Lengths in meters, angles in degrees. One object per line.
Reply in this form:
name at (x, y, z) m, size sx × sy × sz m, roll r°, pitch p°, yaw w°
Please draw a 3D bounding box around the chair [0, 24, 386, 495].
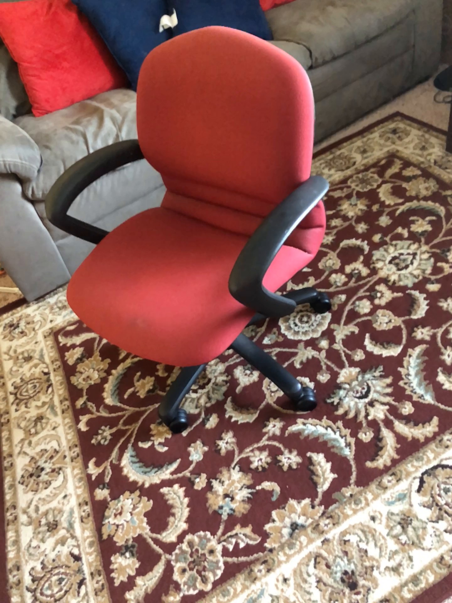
chair at (-0.080, -0.134, 1.175) m, size 0.651 × 0.728 × 0.620 m, roll 24°, pitch 57°, yaw 35°
